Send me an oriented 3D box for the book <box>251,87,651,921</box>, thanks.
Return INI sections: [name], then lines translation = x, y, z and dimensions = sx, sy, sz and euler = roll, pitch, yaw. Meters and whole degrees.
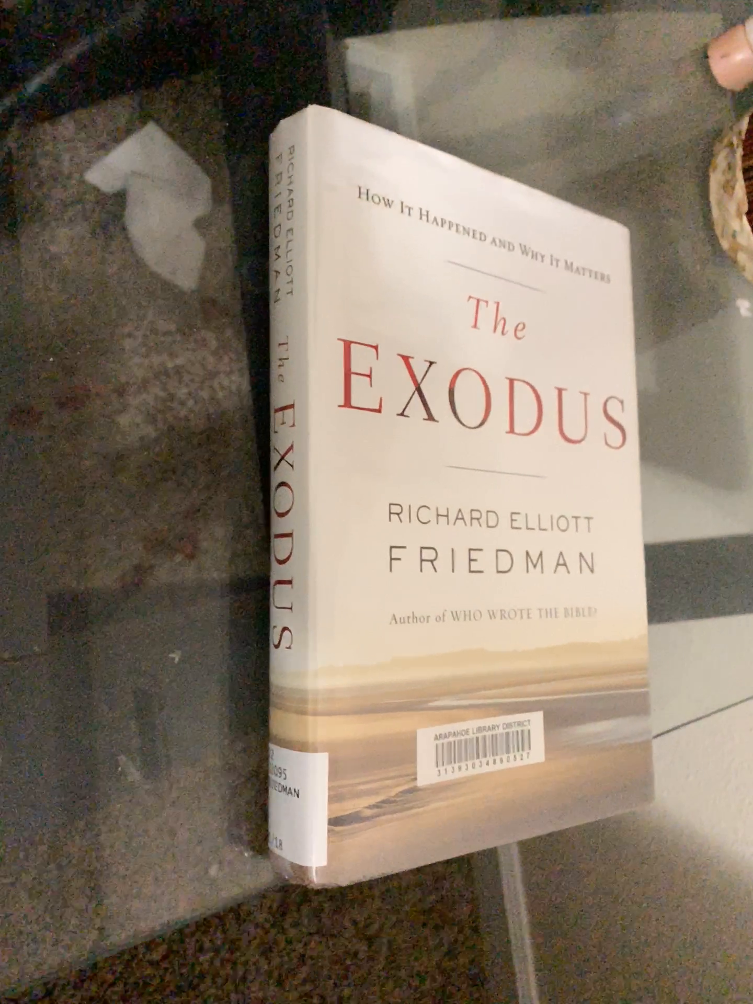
[book]
translation = 0.037, 0.001, 0.277
dimensions = 0.161, 0.030, 0.231
euler = 2, 87, -37
